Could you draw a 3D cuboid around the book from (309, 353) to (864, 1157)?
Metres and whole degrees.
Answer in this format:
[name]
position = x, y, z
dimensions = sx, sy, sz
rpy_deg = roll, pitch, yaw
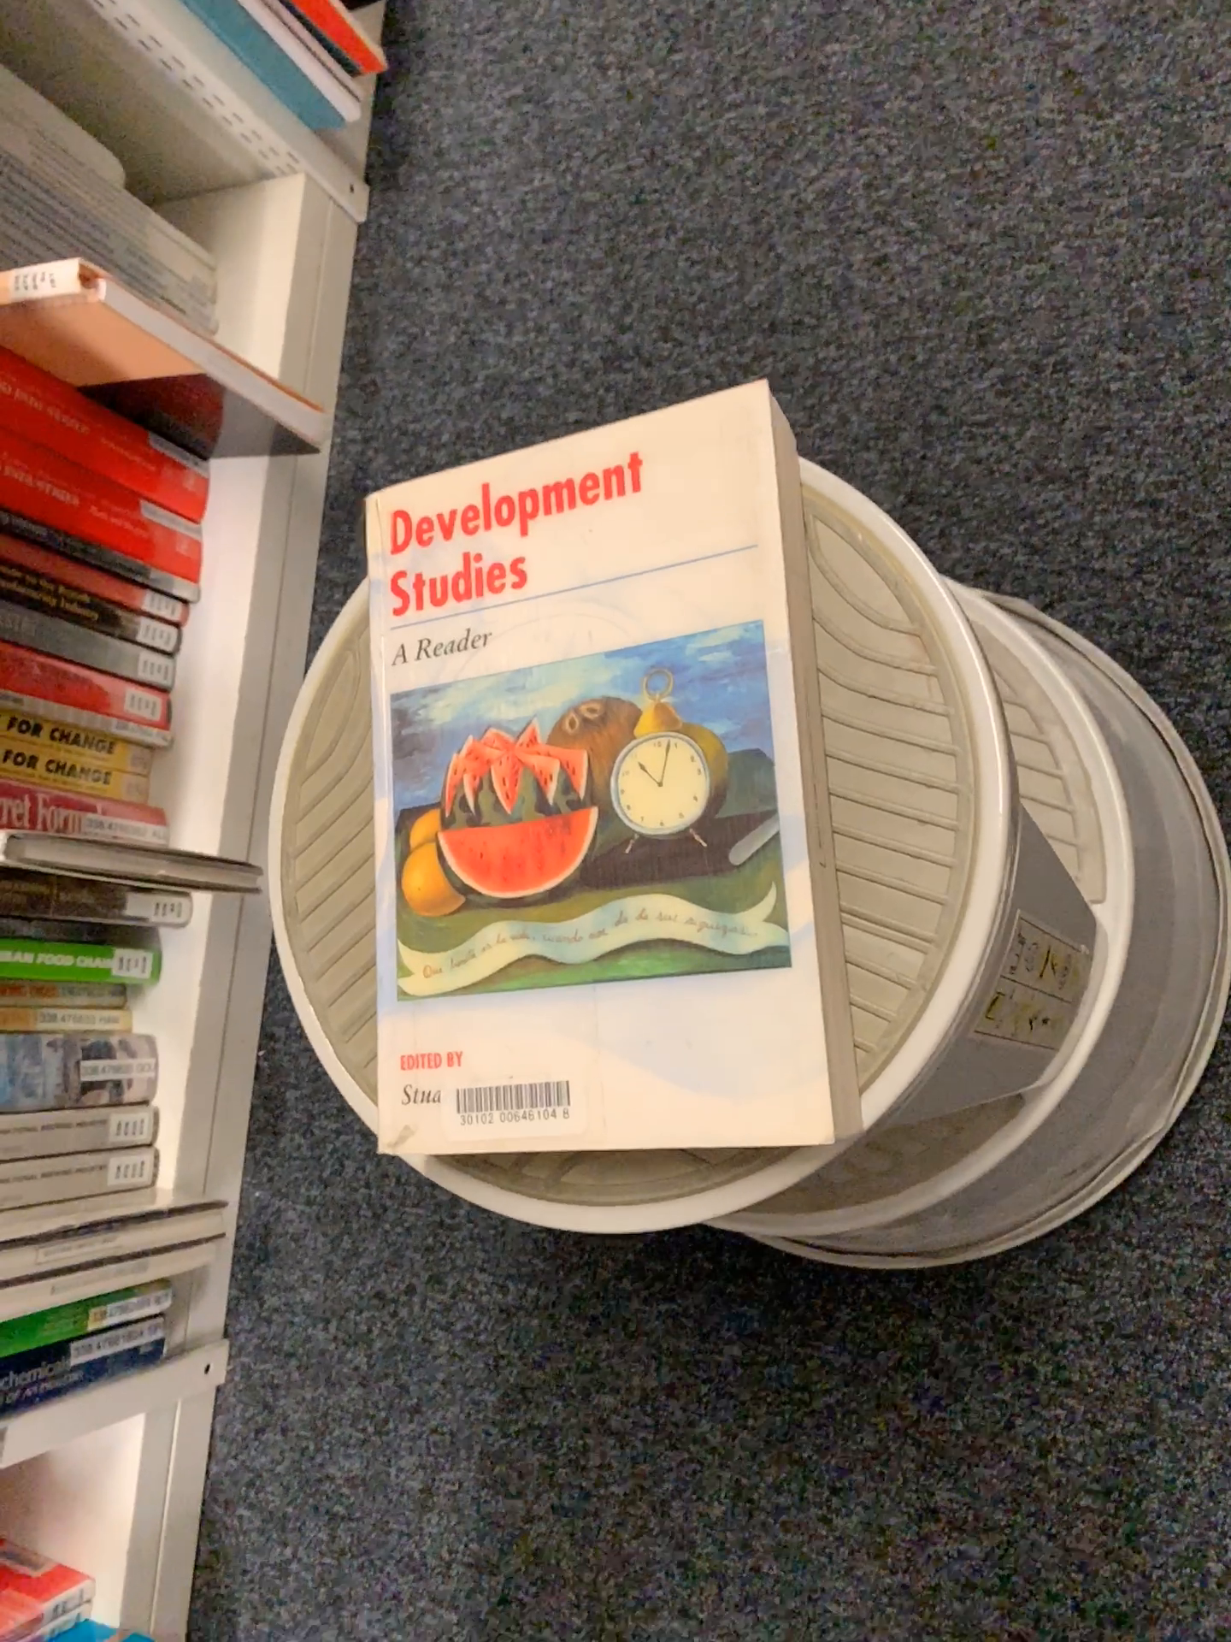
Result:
[book]
position = -0.016, -0.013, 0.399
dimensions = 0.160, 0.046, 0.225
rpy_deg = -8, 79, 23
